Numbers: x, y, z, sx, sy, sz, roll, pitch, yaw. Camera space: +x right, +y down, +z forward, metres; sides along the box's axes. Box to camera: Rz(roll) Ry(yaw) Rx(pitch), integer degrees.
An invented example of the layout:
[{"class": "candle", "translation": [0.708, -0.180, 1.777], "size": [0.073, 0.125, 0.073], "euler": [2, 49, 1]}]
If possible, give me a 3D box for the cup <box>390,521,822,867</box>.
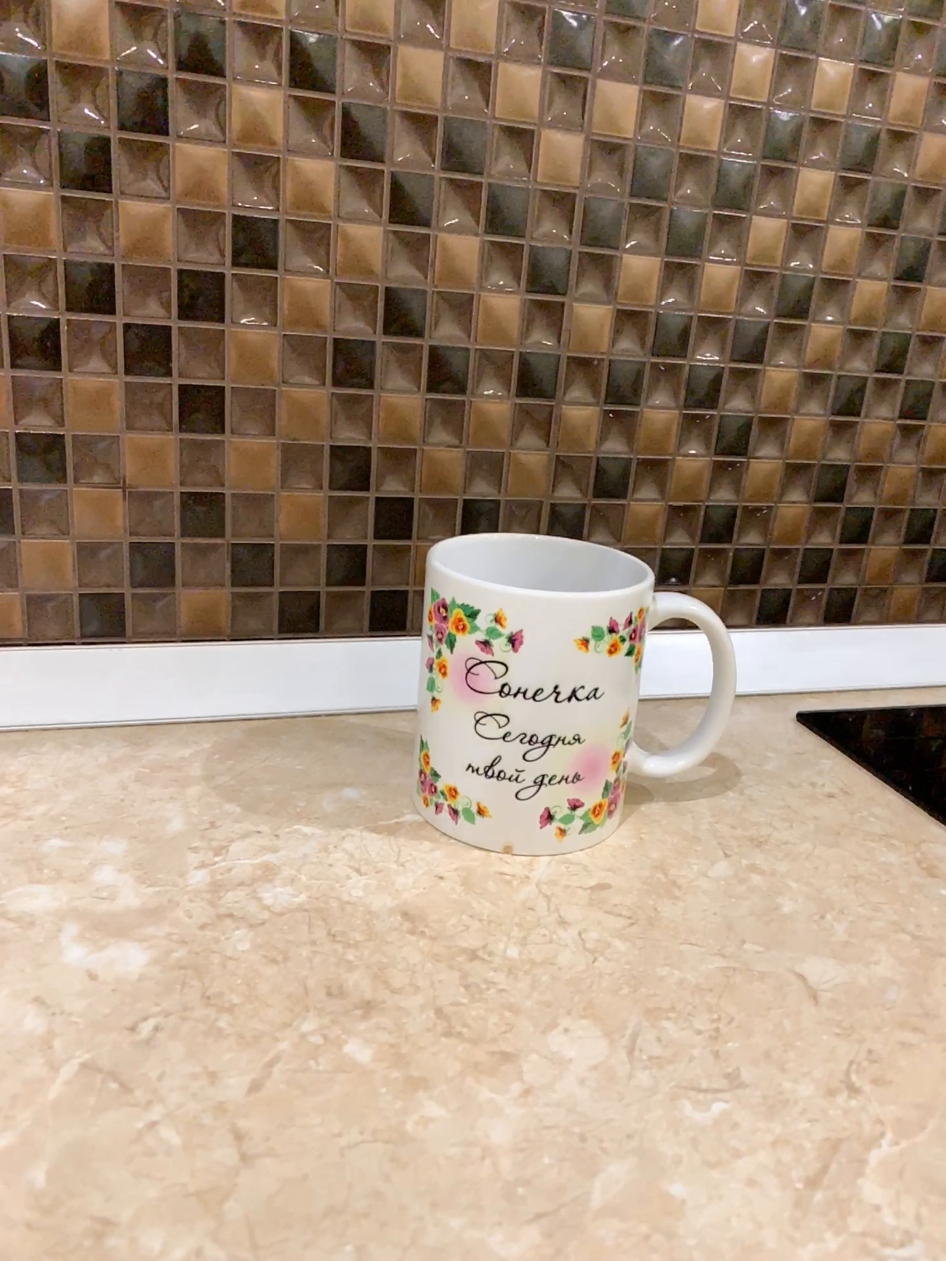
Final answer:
[{"class": "cup", "translation": [0.040, 0.018, 0.358], "size": [0.123, 0.093, 0.091], "euler": [1, 19, -13]}]
